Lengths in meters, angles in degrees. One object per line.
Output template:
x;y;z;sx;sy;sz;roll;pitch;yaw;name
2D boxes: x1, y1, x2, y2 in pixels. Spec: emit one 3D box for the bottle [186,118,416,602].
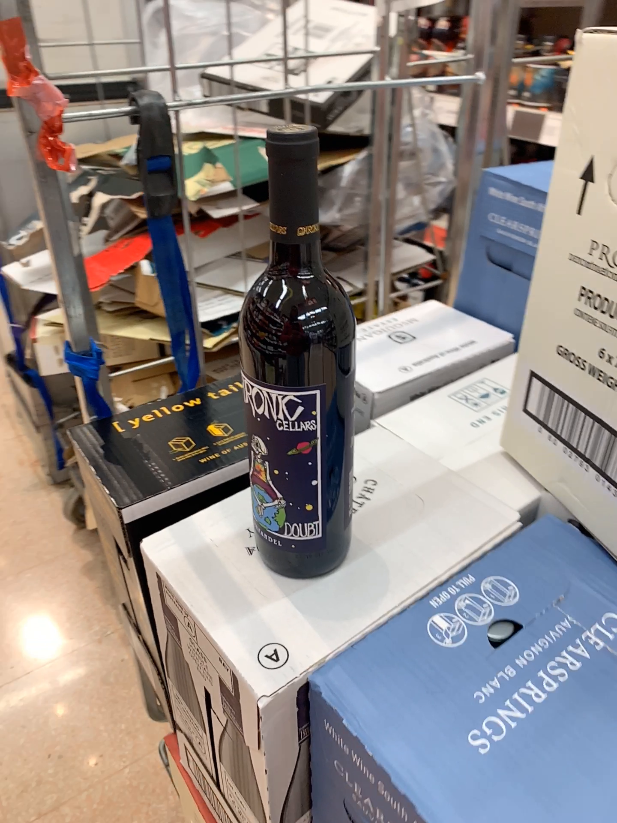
-0.006;-0.024;0.407;0.085;0.284;0.086;0;32;0;bottle
